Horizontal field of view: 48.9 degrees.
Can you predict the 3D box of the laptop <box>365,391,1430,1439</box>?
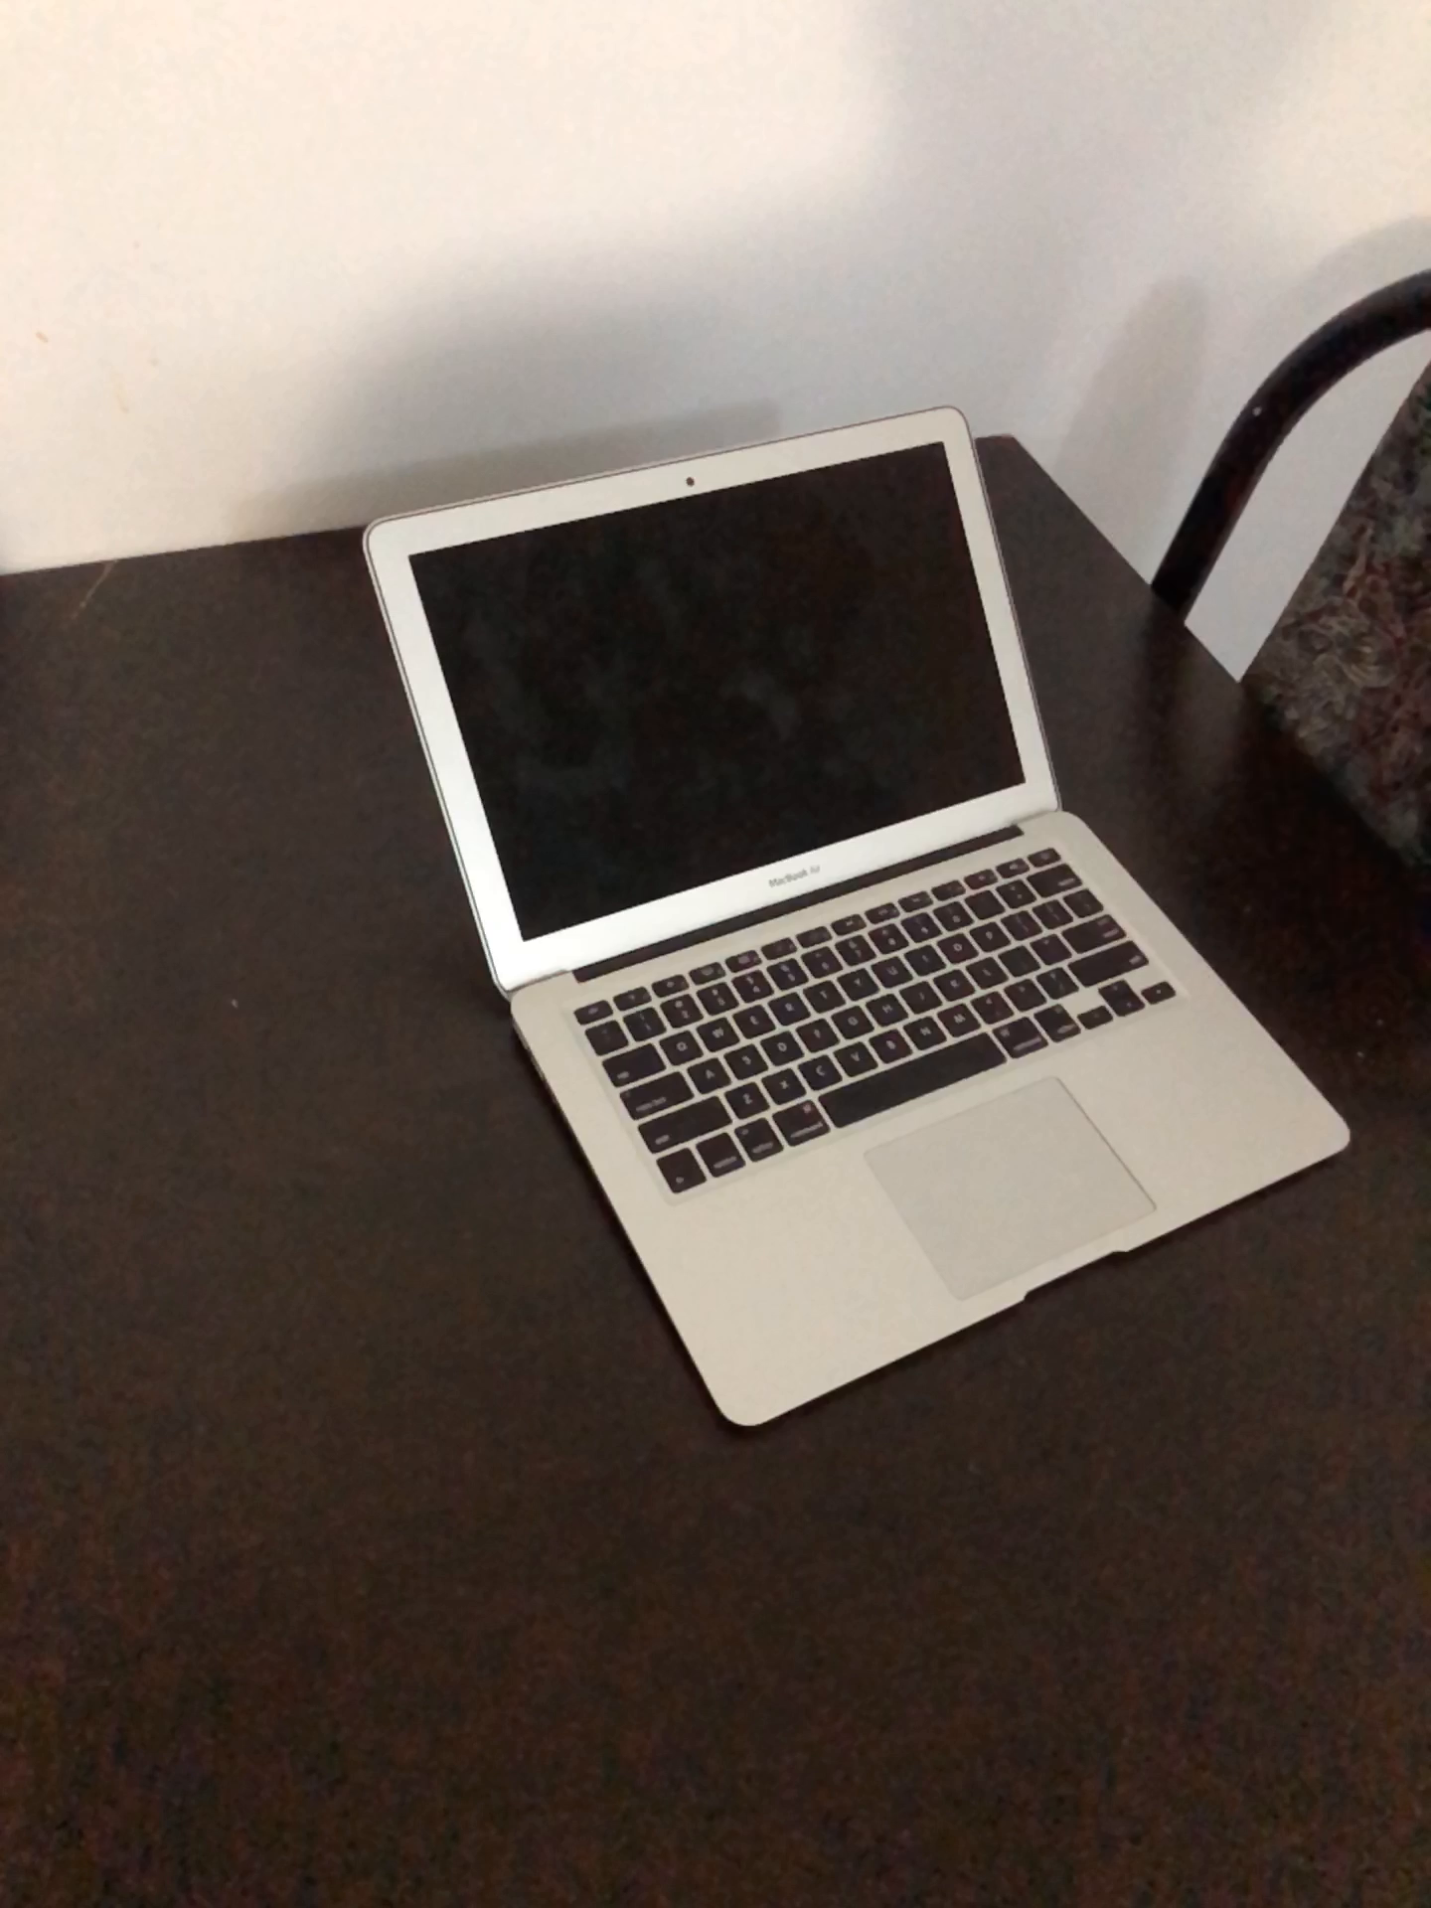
[{"bbox_3d":[0.065,-0.051,0.654,0.303,0.136,0.362,-19,55,-22],"label":"laptop"}]
